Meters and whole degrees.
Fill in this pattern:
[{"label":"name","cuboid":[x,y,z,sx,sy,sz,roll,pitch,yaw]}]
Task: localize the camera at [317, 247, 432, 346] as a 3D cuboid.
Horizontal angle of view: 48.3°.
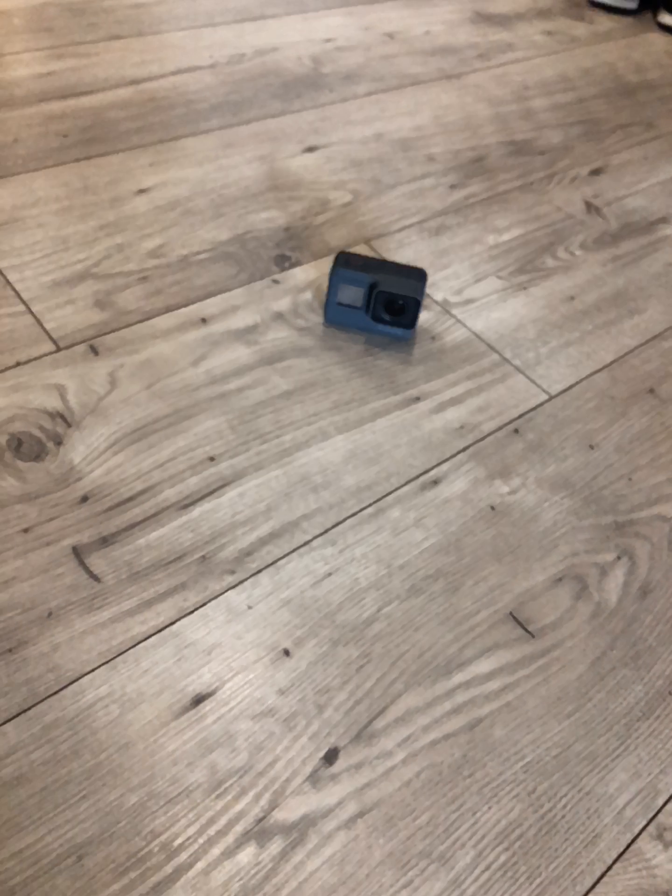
[{"label":"camera","cuboid":[0.024,-0.098,0.487,0.065,0.040,0.032,12,48,0]}]
